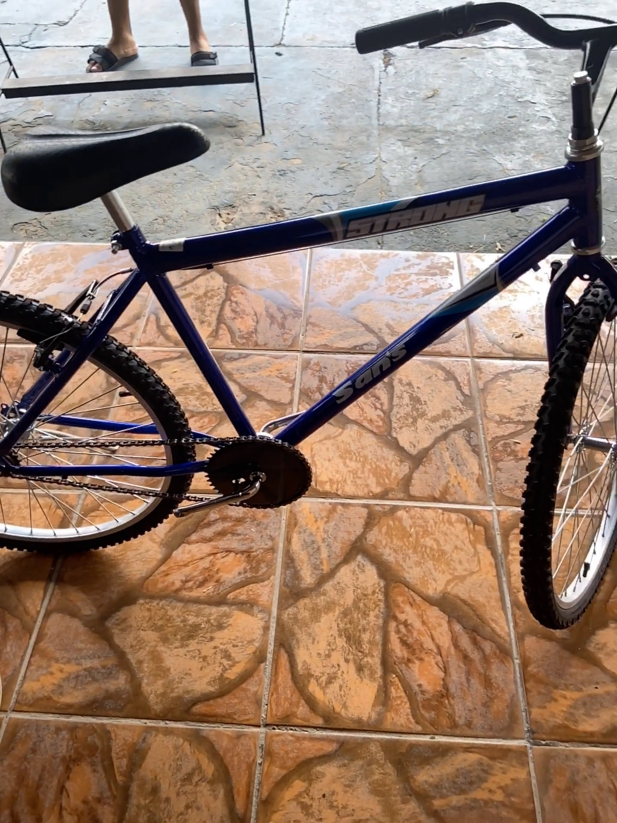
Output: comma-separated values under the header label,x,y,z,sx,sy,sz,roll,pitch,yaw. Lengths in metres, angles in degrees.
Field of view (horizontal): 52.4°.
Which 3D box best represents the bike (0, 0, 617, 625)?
label,x,y,z,sx,sy,sz,roll,pitch,yaw
bike,-0.081,-0.212,1.120,1.525,1.014,0.574,-7,52,-6
